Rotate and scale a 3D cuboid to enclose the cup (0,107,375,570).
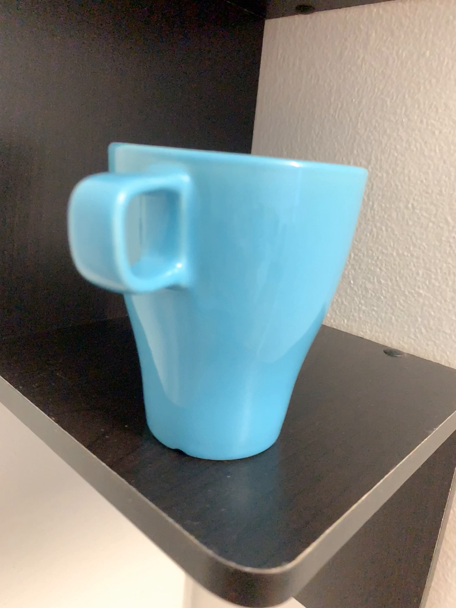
[{"bbox_3d":[-0.007,-0.005,0.156,0.090,0.090,0.111,10,16,15],"label":"cup"}]
